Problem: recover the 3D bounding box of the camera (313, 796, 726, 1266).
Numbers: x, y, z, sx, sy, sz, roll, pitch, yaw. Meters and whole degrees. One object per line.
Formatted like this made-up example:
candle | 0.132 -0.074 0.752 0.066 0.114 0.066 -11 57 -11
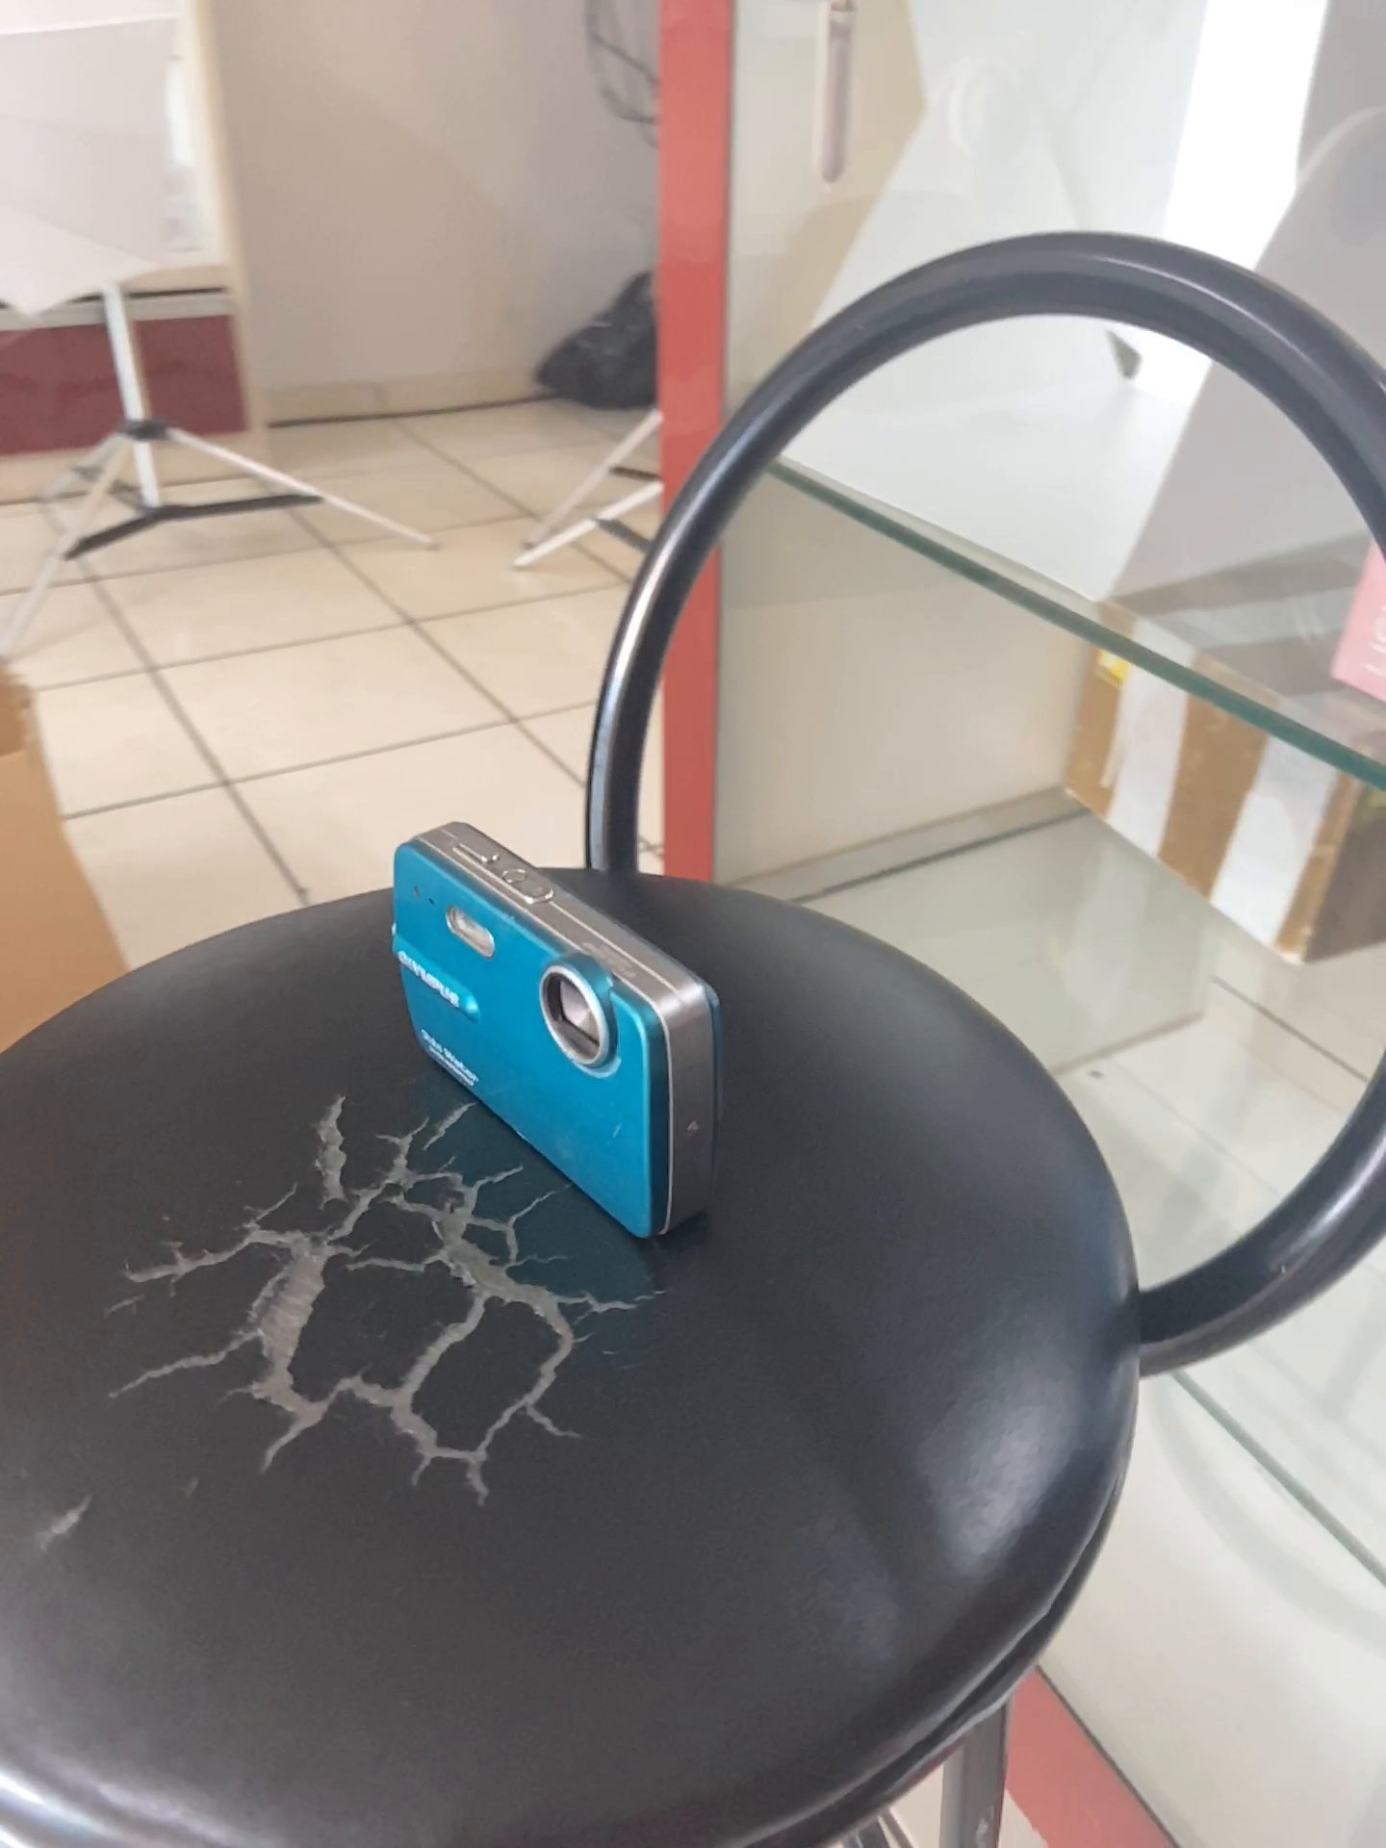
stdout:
camera | -0.038 0.018 0.300 0.030 0.050 0.100 -25 41 -34
